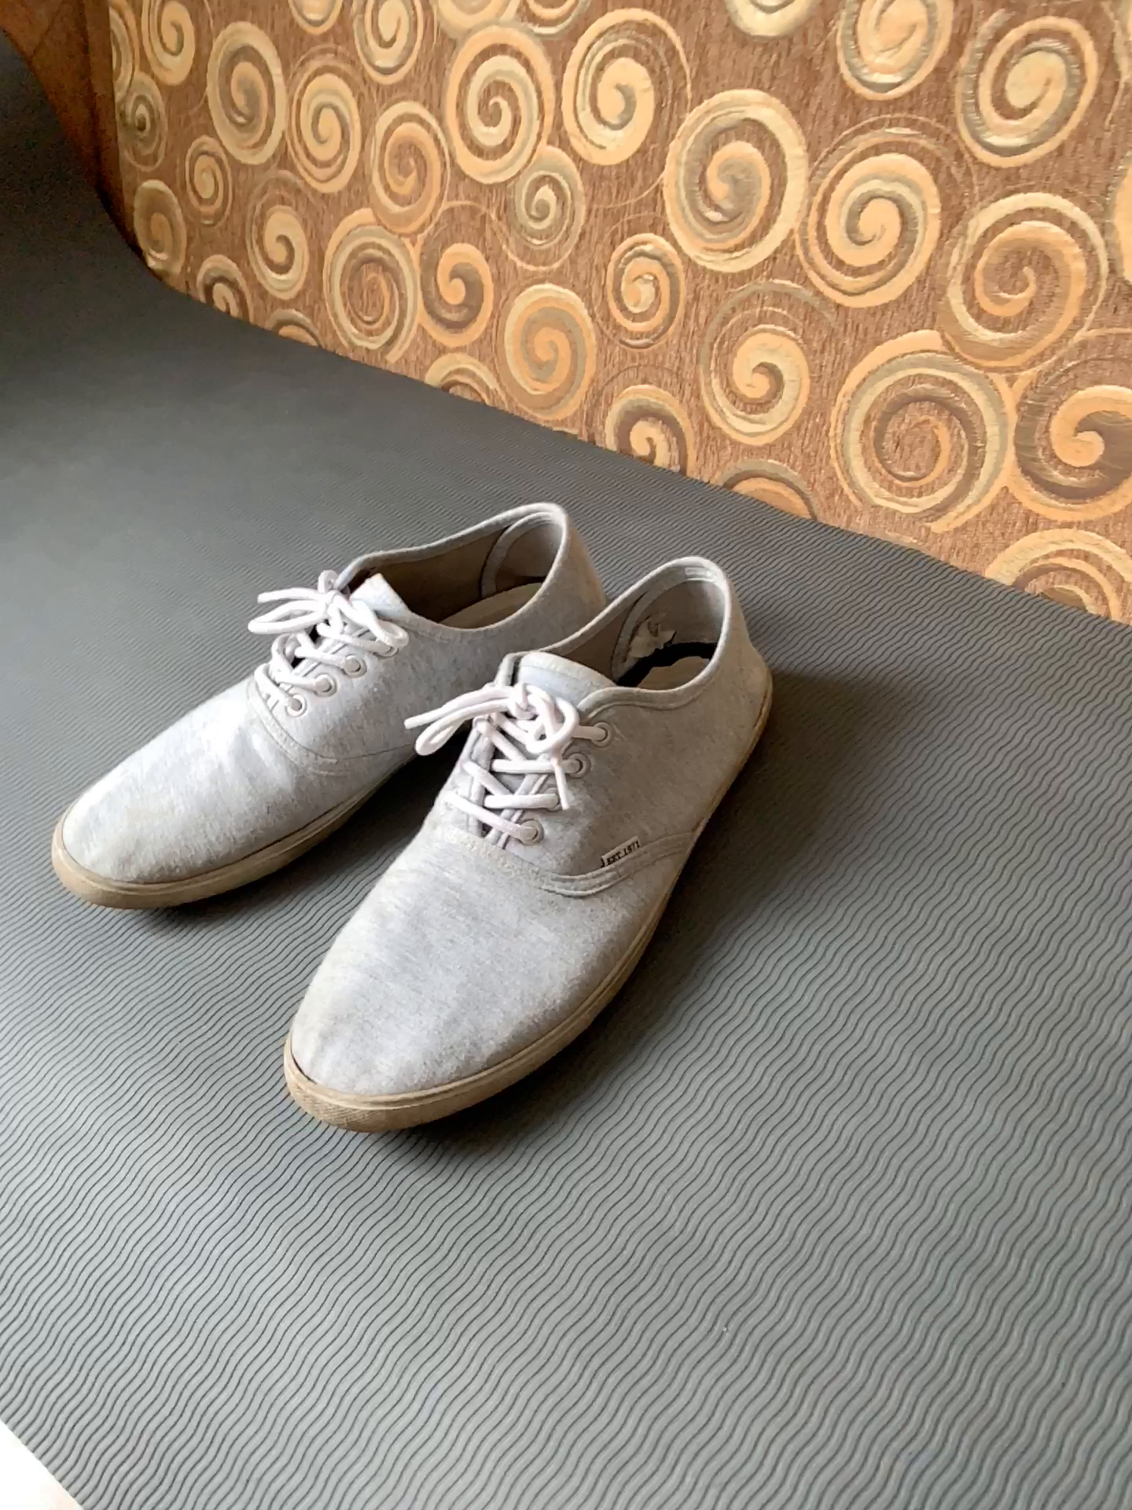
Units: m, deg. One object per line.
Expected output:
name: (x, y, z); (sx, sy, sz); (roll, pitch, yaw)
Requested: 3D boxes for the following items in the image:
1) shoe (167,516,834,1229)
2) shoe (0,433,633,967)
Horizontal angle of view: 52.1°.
shoe: (-0.007, 0.025, 0.445); (0.110, 0.080, 0.261); (22, 54, 27)
shoe: (-0.109, -0.036, 0.516); (0.260, 0.080, 0.111); (-32, 50, -19)
